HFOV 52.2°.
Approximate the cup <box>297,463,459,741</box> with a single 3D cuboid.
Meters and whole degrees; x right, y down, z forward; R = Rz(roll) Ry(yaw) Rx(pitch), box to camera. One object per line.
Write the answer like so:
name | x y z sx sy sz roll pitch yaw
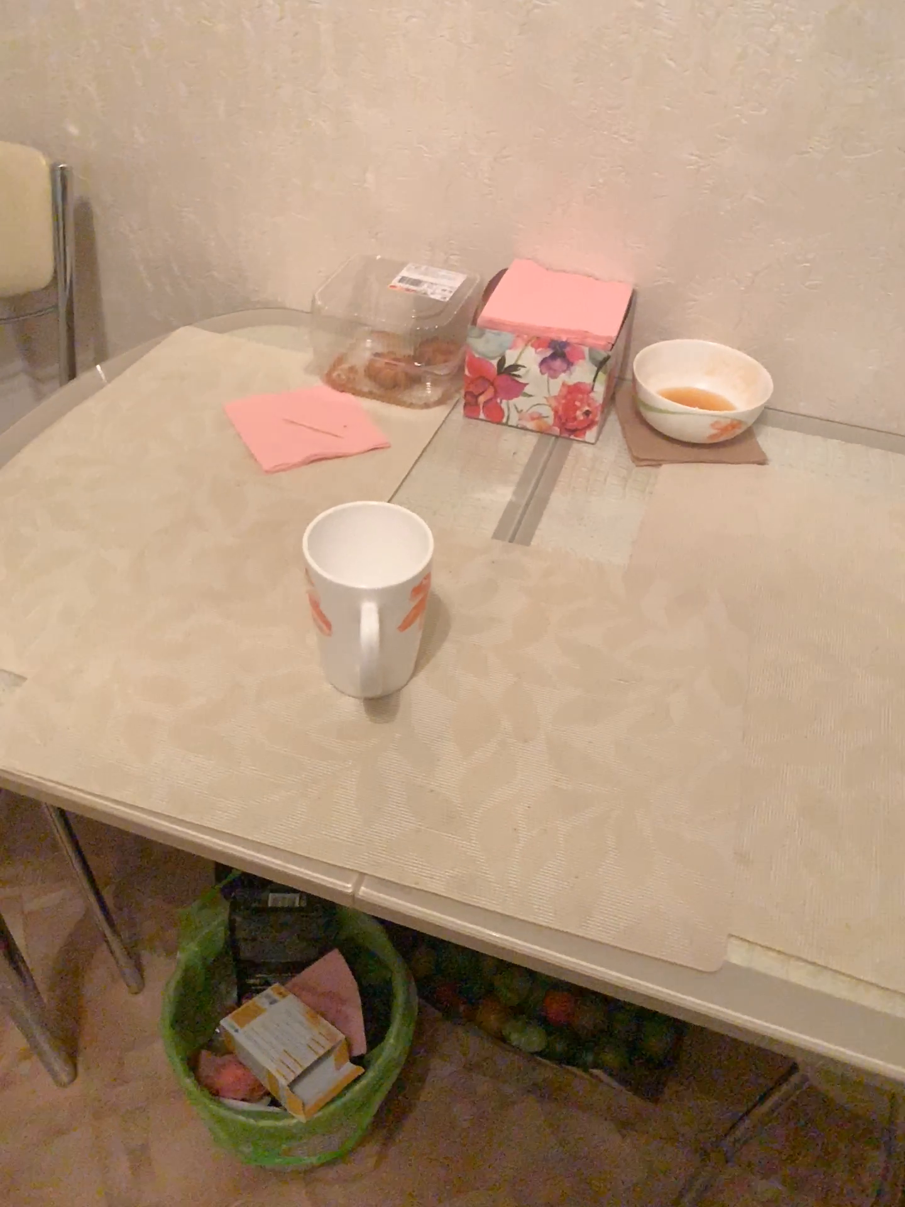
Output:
cup | -0.048 -0.003 0.559 0.080 0.109 0.121 -5 43 -8
